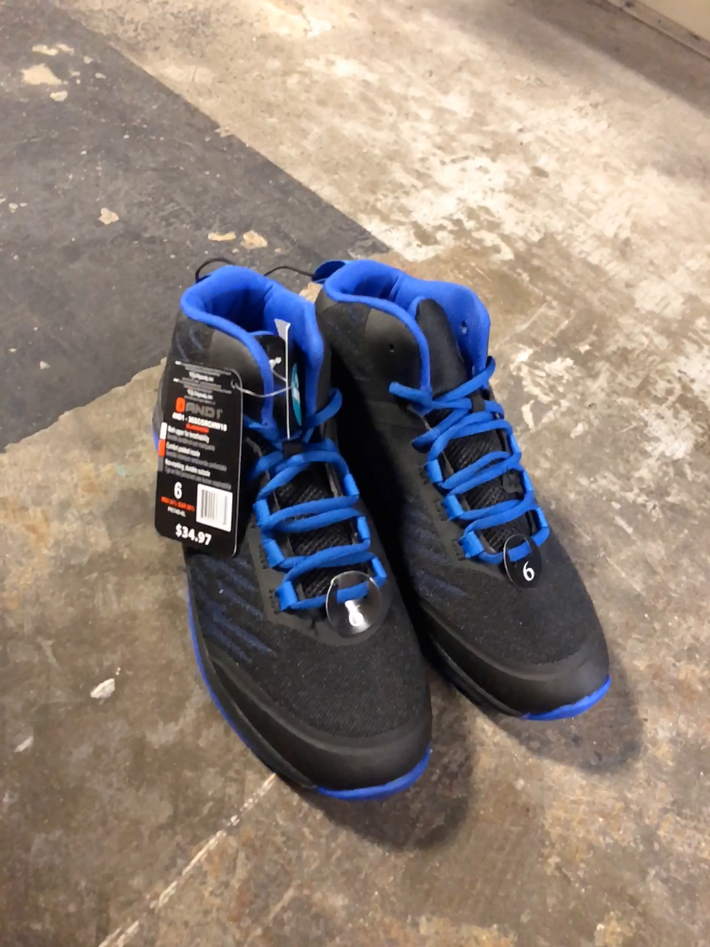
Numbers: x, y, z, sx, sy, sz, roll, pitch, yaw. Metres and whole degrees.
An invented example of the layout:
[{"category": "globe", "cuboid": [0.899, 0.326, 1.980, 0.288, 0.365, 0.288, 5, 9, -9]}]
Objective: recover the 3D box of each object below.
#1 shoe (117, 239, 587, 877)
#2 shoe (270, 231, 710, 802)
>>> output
[{"category": "shoe", "cuboid": [-0.022, 0.025, 0.330, 0.100, 0.119, 0.221, -13, 57, -19]}, {"category": "shoe", "cuboid": [0.060, 0.011, 0.384, 0.110, 0.119, 0.231, -19, 60, -23]}]
